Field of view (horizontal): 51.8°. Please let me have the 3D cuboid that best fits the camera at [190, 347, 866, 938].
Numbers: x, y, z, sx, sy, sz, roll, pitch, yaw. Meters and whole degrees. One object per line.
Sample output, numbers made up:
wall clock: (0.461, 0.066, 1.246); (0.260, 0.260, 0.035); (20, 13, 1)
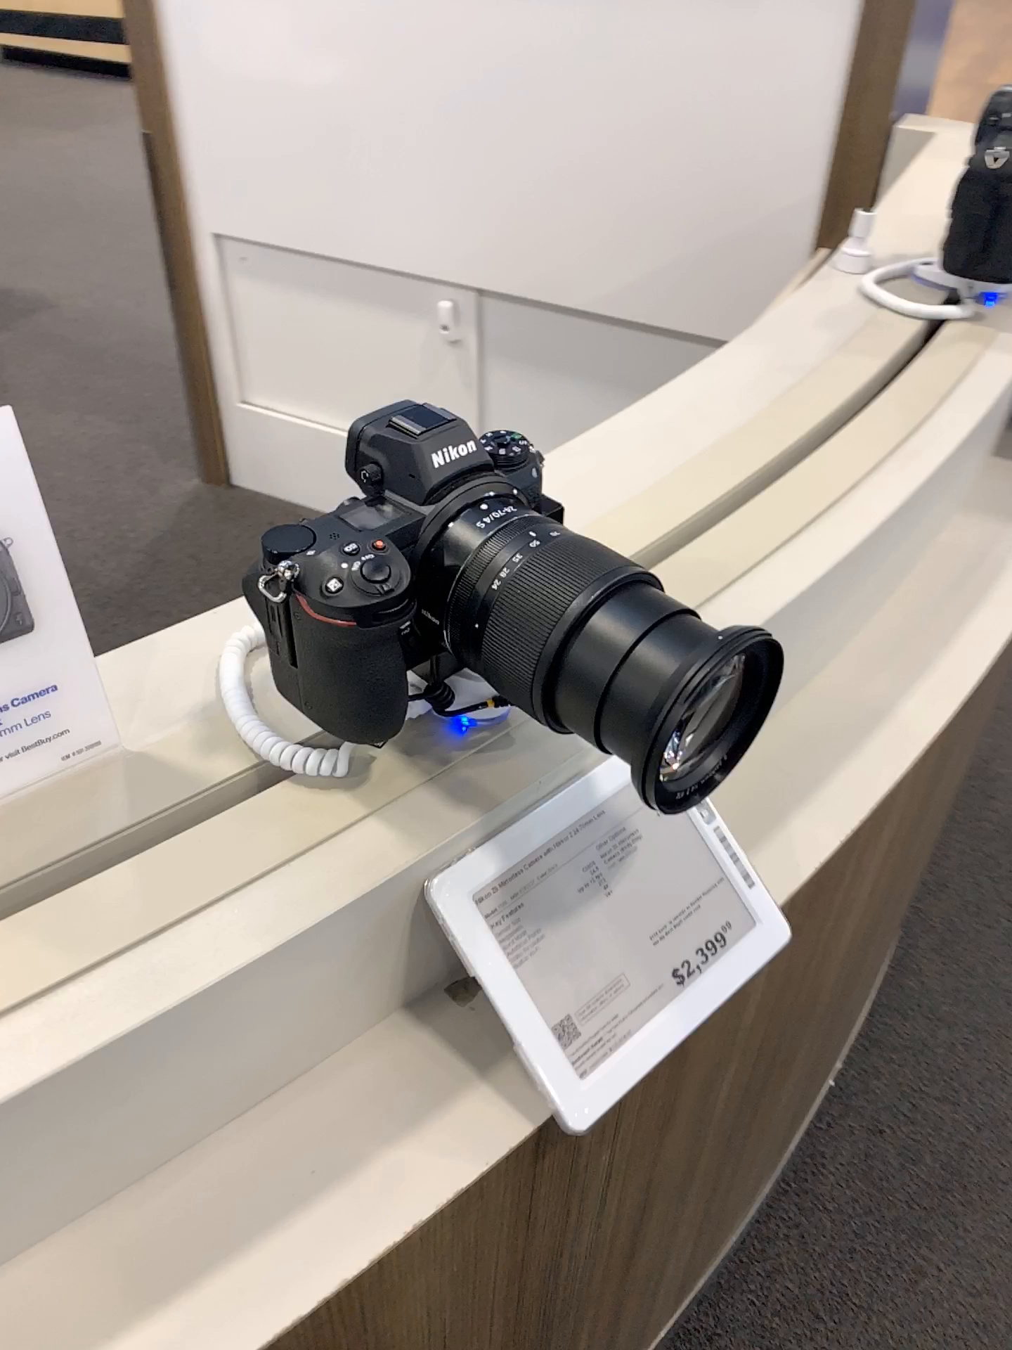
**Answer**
camera: (0.001, -0.031, 0.414); (0.140, 0.099, 0.211); (-32, 50, -33)
